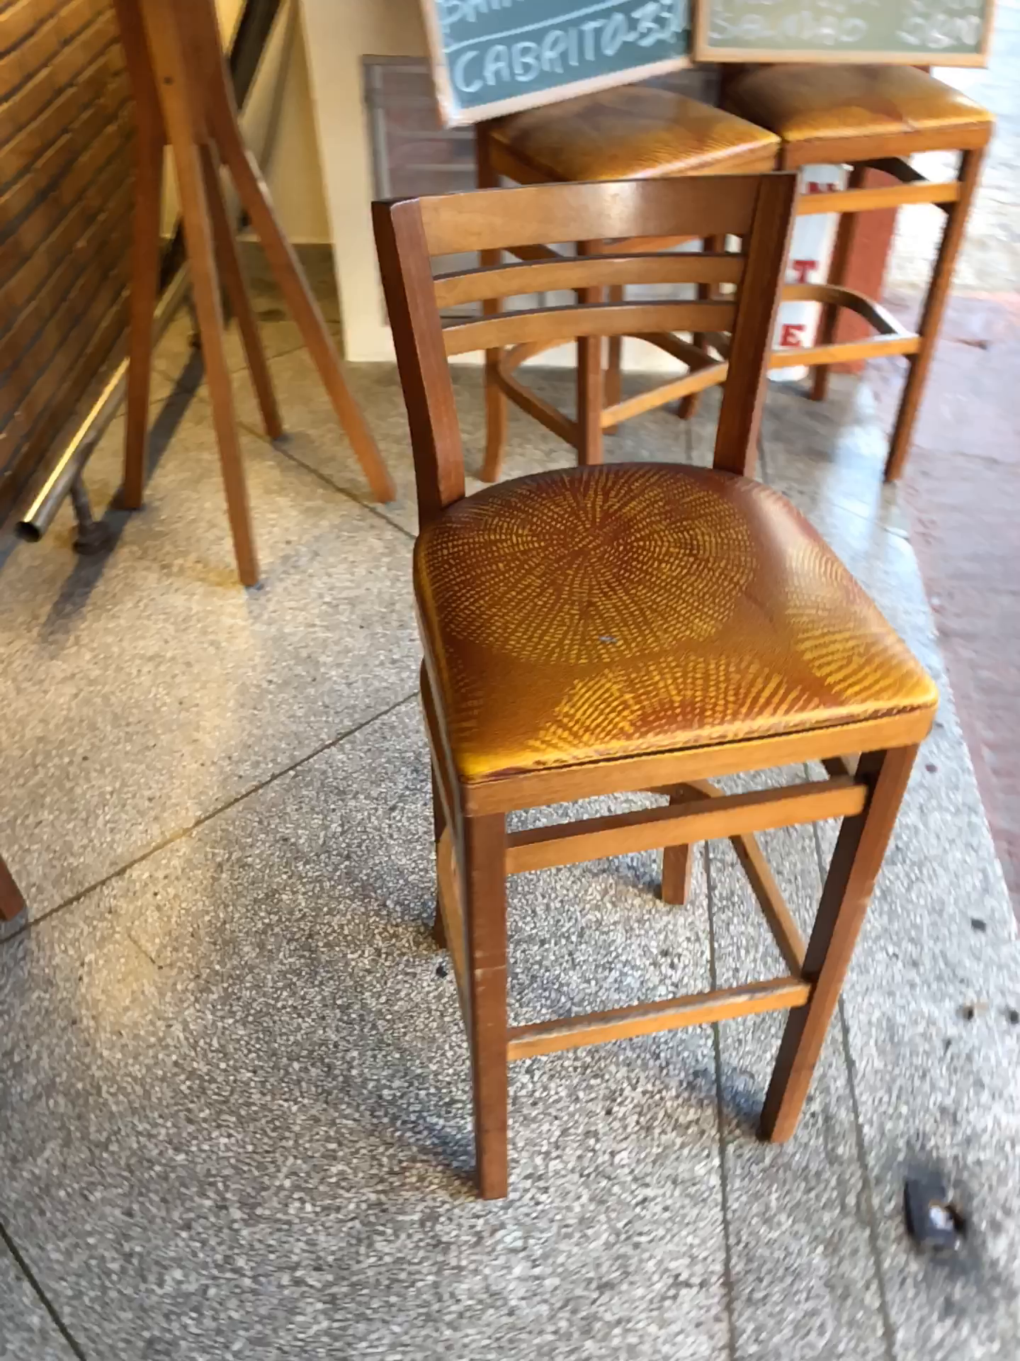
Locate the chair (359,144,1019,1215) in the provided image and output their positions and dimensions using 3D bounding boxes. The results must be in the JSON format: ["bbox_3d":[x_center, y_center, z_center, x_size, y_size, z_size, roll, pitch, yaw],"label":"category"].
[{"bbox_3d":[0.116,0.068,1.108,0.400,0.973,0.433,-7,43,-7],"label":"chair"}]
